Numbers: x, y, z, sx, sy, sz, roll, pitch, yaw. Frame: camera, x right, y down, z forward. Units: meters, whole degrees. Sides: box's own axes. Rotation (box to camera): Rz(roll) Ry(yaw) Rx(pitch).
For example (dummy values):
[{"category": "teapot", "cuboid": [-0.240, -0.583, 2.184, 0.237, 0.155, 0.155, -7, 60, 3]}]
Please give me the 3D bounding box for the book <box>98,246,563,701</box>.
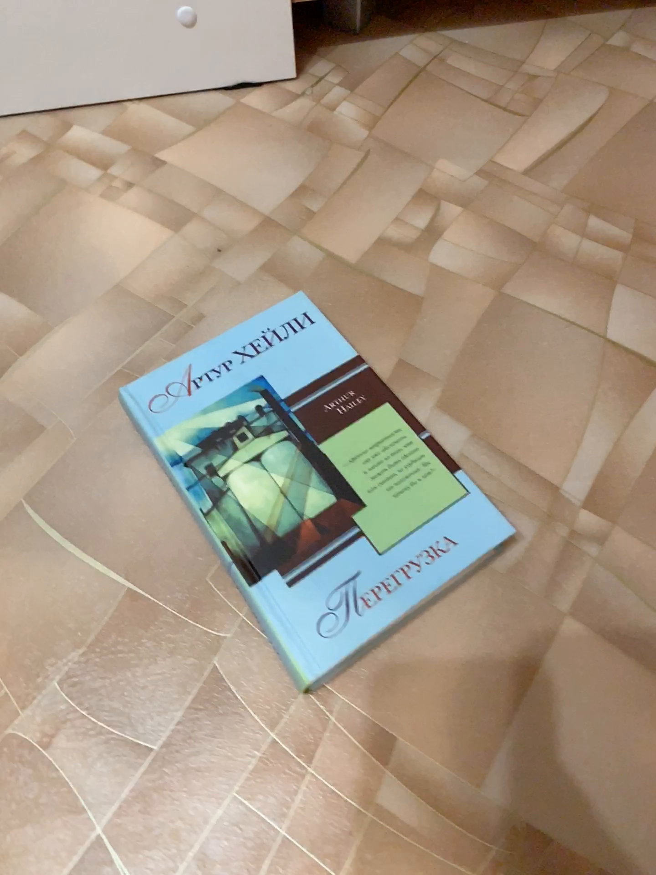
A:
[{"category": "book", "cuboid": [-0.006, 0.004, 0.369, 0.150, 0.040, 0.211, -33, 64, -15]}]
